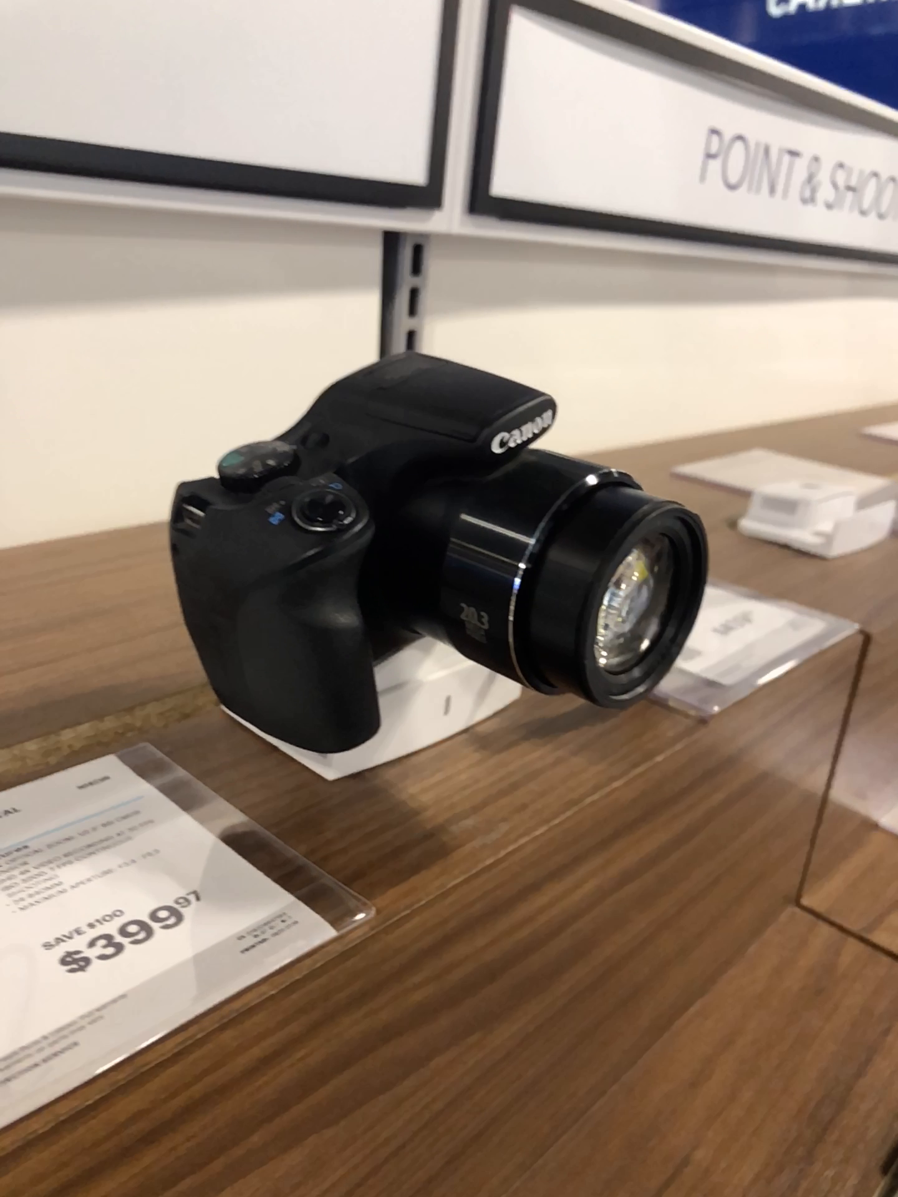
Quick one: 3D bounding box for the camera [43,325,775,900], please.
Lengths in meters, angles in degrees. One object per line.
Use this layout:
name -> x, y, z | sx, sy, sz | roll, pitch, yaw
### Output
camera -> -0.007, -0.014, 0.278 | 0.140, 0.069, 0.131 | 20, 40, 35
